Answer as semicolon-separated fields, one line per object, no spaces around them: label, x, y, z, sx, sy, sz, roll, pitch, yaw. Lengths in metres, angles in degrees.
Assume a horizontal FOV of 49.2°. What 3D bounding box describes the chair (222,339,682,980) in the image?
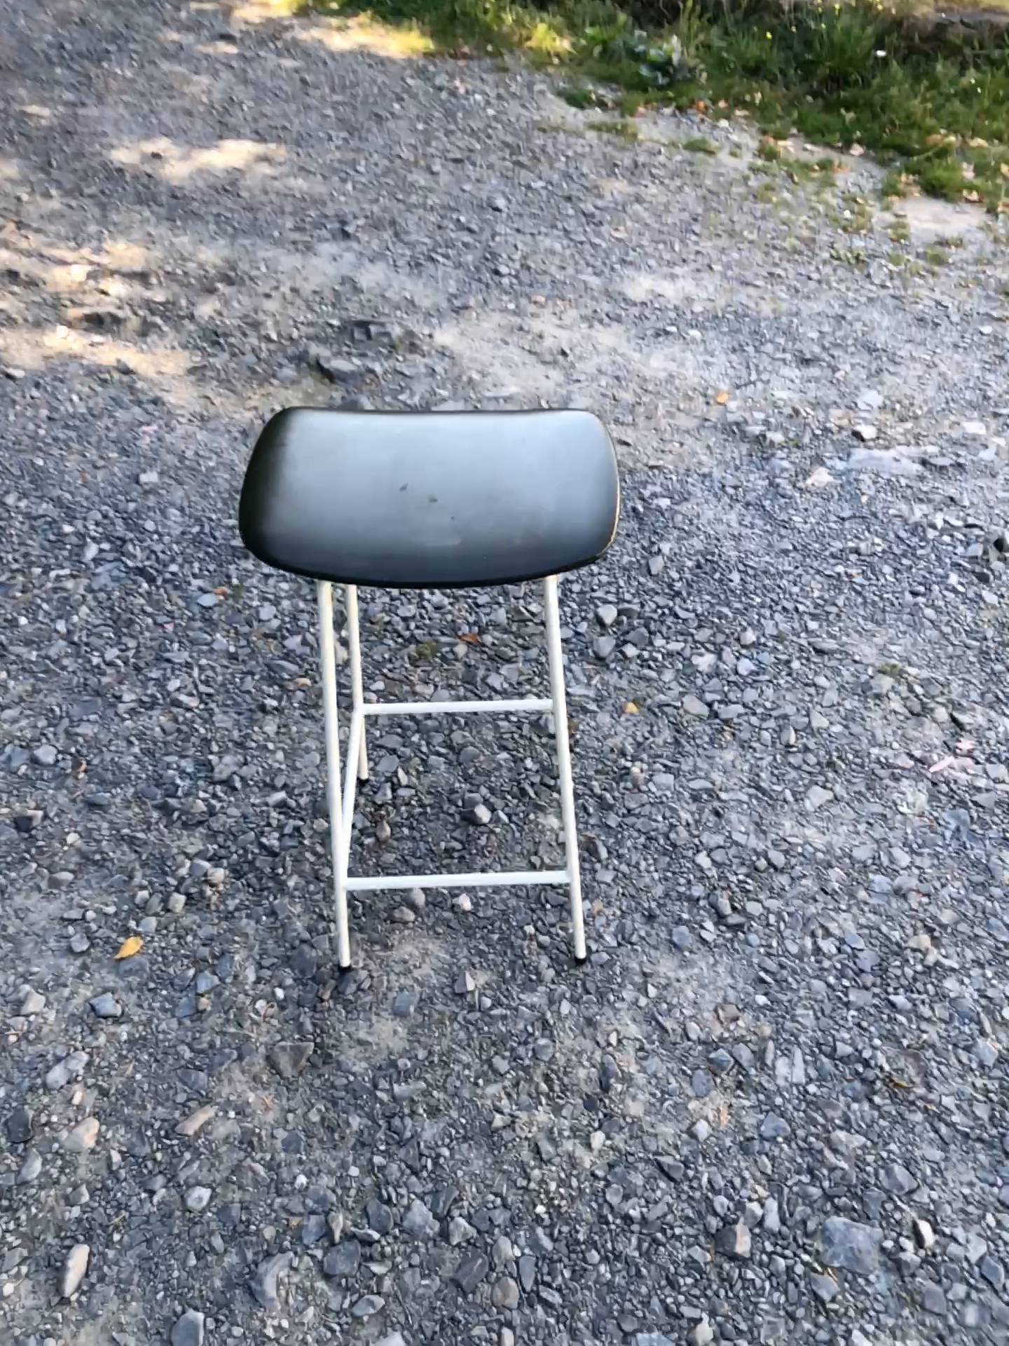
chair;-0.062;0.015;1.251;0.370;0.646;0.372;0;46;-4
